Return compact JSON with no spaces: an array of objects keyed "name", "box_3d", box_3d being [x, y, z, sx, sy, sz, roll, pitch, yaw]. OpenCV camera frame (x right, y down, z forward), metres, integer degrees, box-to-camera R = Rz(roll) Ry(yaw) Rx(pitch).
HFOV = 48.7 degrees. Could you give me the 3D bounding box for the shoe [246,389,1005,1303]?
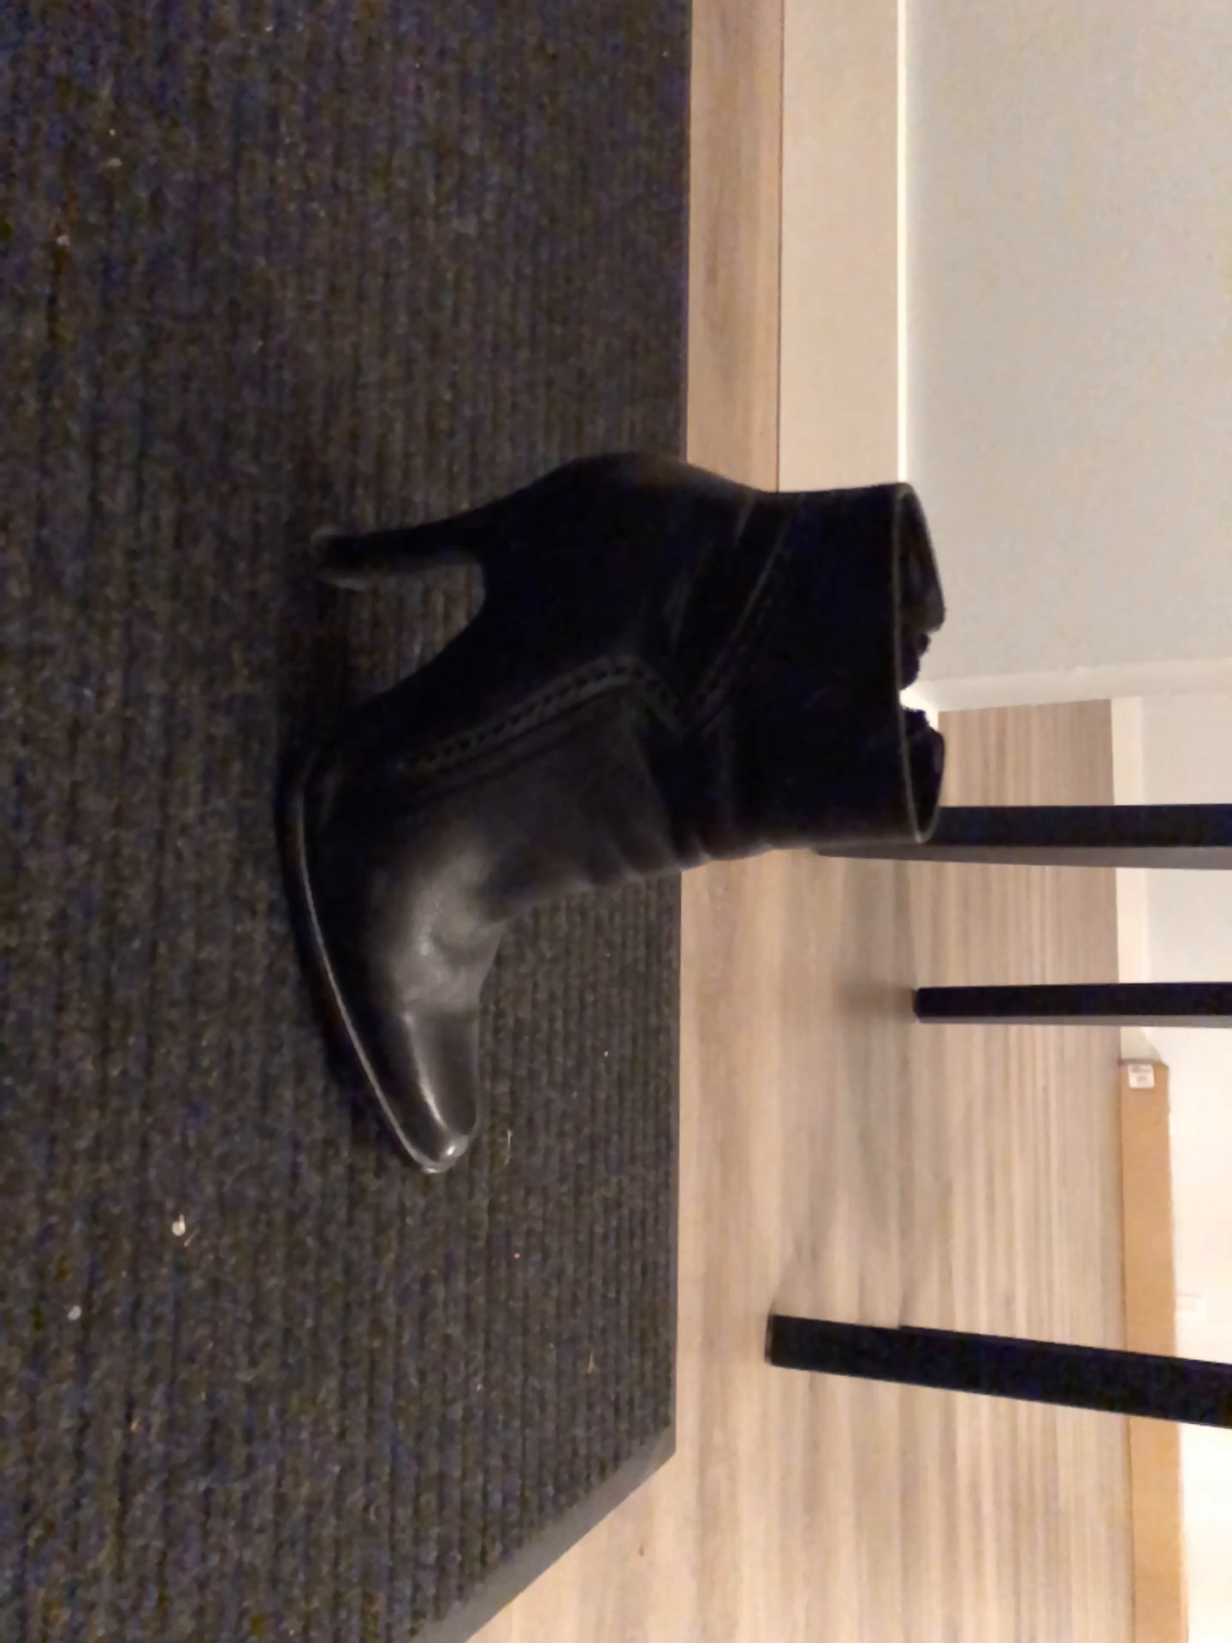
[{"name":"shoe","box_3d":[0.006,0.009,0.437,0.090,0.209,0.240,-12,99,-67]}]
